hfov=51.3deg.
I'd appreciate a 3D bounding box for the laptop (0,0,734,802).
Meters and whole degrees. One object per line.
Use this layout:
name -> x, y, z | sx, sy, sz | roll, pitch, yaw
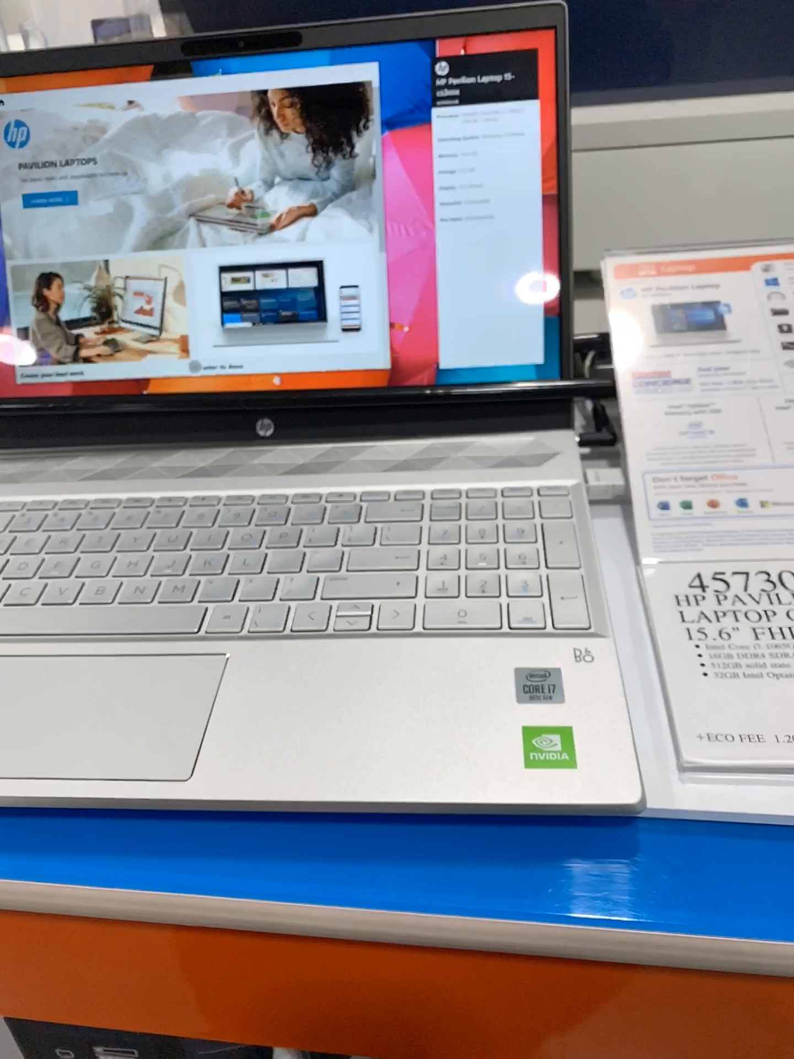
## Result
laptop -> -0.082, -0.086, 0.352 | 0.332, 0.175, 0.335 | -2, 38, 6
